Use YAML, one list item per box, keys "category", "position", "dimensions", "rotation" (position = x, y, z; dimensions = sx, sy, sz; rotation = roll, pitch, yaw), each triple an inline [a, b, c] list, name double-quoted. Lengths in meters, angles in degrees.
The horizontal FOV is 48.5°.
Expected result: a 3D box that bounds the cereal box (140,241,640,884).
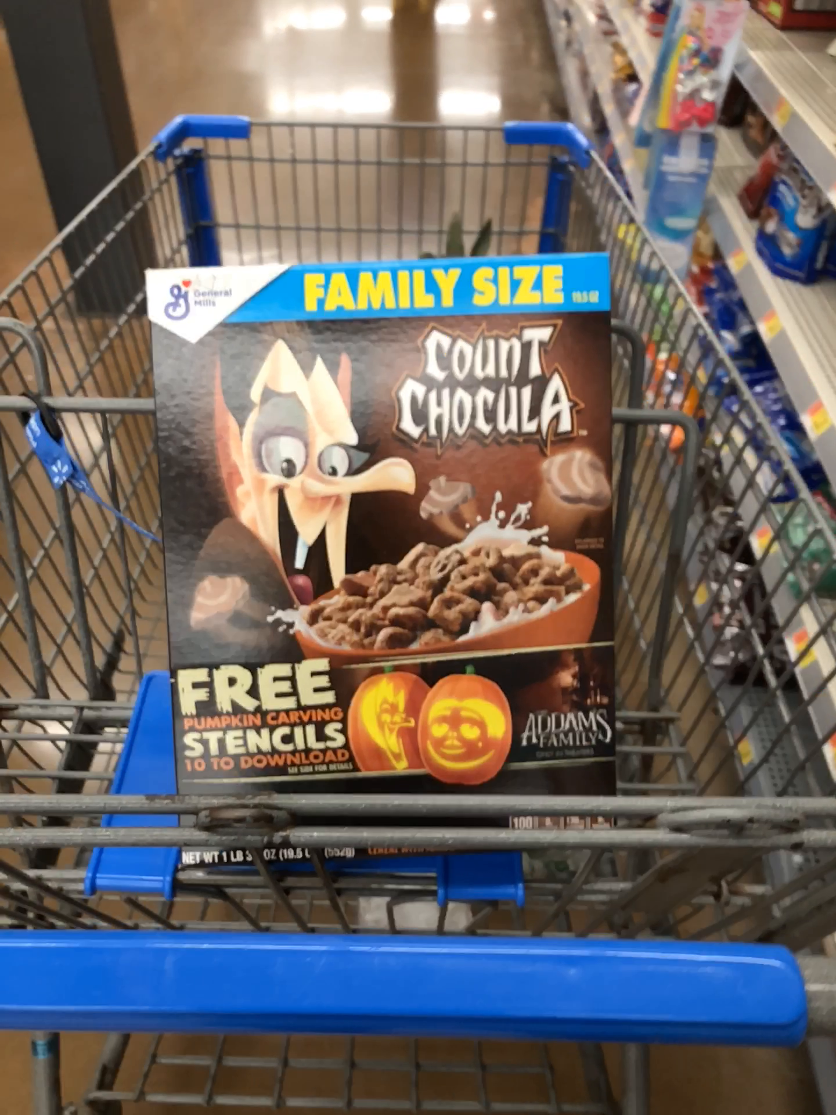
- category: "cereal box"
  position: [-0.010, 0.003, 0.526]
  dimensions: [0.250, 0.330, 0.080]
  rotation: [-2, 6, -2]
